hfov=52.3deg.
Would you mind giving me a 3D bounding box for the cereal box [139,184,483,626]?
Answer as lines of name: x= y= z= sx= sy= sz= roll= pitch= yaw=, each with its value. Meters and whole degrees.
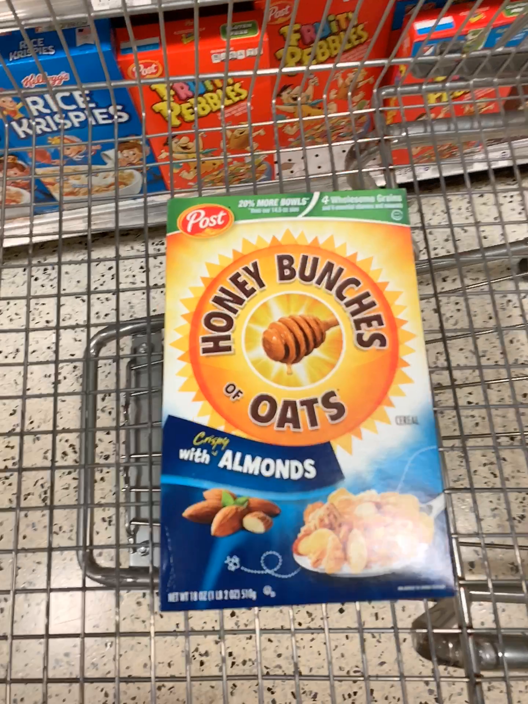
cereal box: x=0.022 y=0.027 z=0.401 sx=0.210 sy=0.060 sz=0.301 roll=-3 pitch=73 yaw=0
